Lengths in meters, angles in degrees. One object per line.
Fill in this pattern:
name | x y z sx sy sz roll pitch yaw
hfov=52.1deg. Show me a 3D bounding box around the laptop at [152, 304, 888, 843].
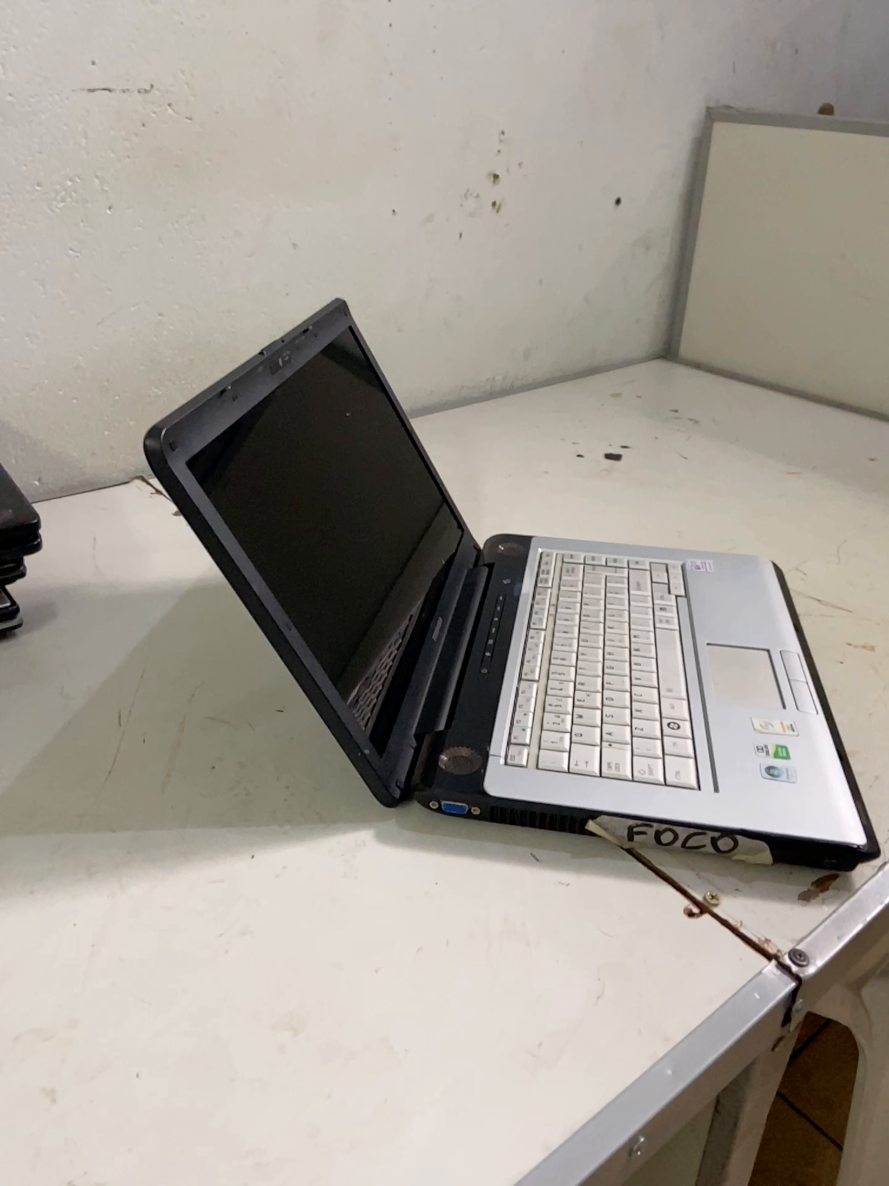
laptop | 0.072 -0.052 0.634 0.393 0.200 0.352 6 29 8
